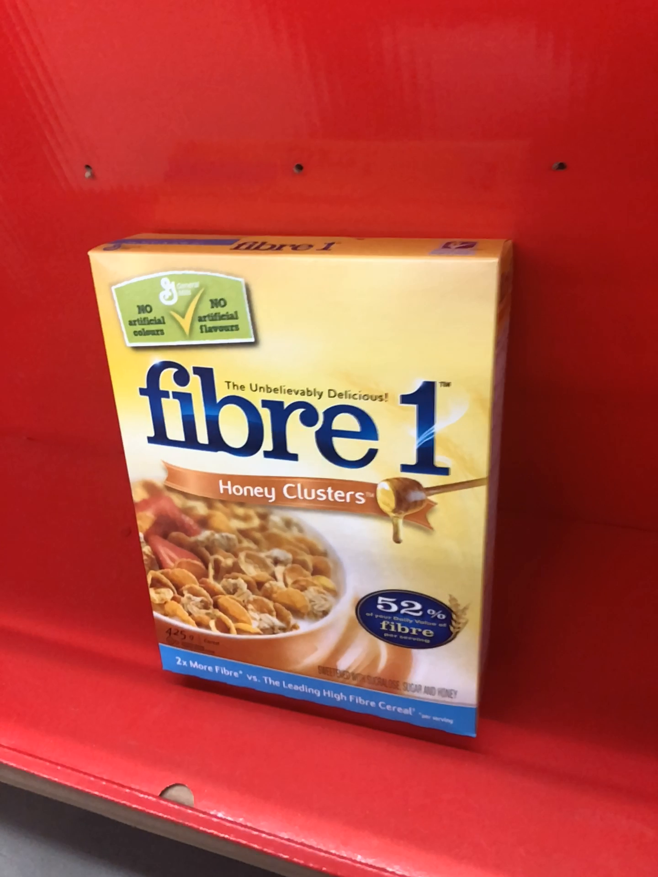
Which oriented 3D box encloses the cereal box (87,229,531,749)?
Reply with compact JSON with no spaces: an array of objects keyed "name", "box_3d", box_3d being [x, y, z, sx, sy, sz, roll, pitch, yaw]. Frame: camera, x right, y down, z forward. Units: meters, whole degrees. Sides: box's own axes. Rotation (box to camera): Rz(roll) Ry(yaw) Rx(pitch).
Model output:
[{"name":"cereal box","box_3d":[-0.007,0.025,0.408,0.210,0.269,0.060,6,24,19]}]
